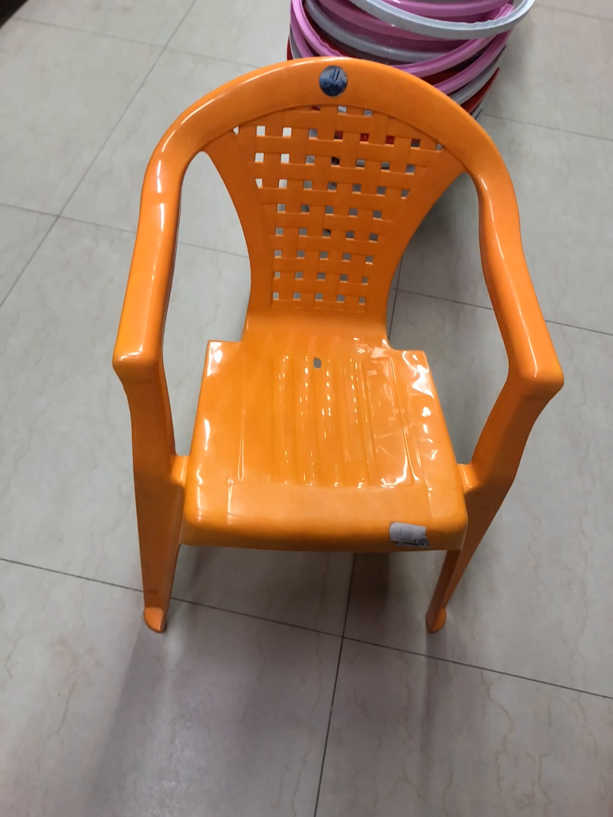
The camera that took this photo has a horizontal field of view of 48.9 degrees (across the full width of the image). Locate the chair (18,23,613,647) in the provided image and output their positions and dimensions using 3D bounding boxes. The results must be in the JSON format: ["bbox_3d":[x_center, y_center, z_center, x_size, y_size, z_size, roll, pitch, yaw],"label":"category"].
[{"bbox_3d":[0.015,-0.033,0.686,0.390,0.468,0.402,3,55,-5],"label":"chair"}]
